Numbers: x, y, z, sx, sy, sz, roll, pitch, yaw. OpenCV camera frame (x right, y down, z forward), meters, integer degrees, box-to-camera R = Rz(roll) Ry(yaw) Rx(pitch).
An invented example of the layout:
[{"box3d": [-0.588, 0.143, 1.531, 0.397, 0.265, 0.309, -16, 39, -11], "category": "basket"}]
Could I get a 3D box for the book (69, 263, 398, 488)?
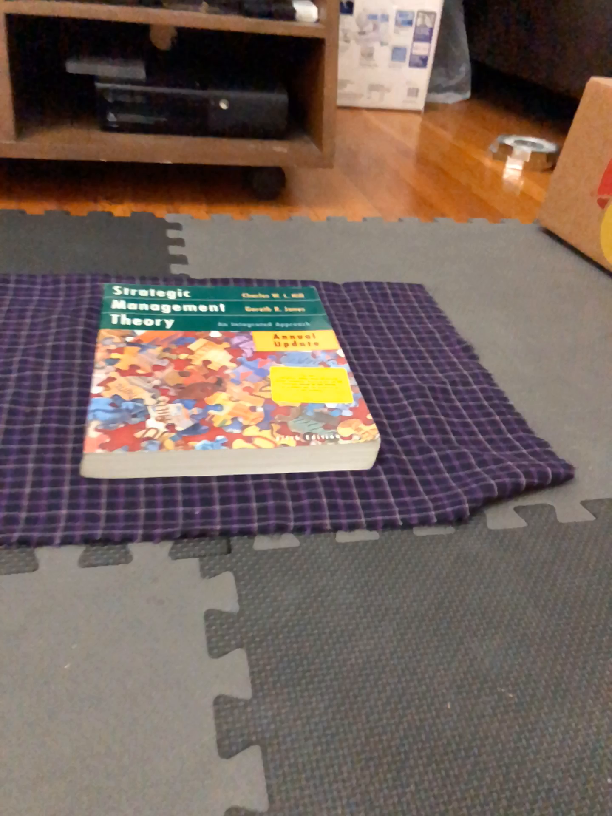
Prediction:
[{"box3d": [-0.070, -0.047, 0.594, 0.230, 0.040, 0.282, -2, 37, -11], "category": "book"}]
